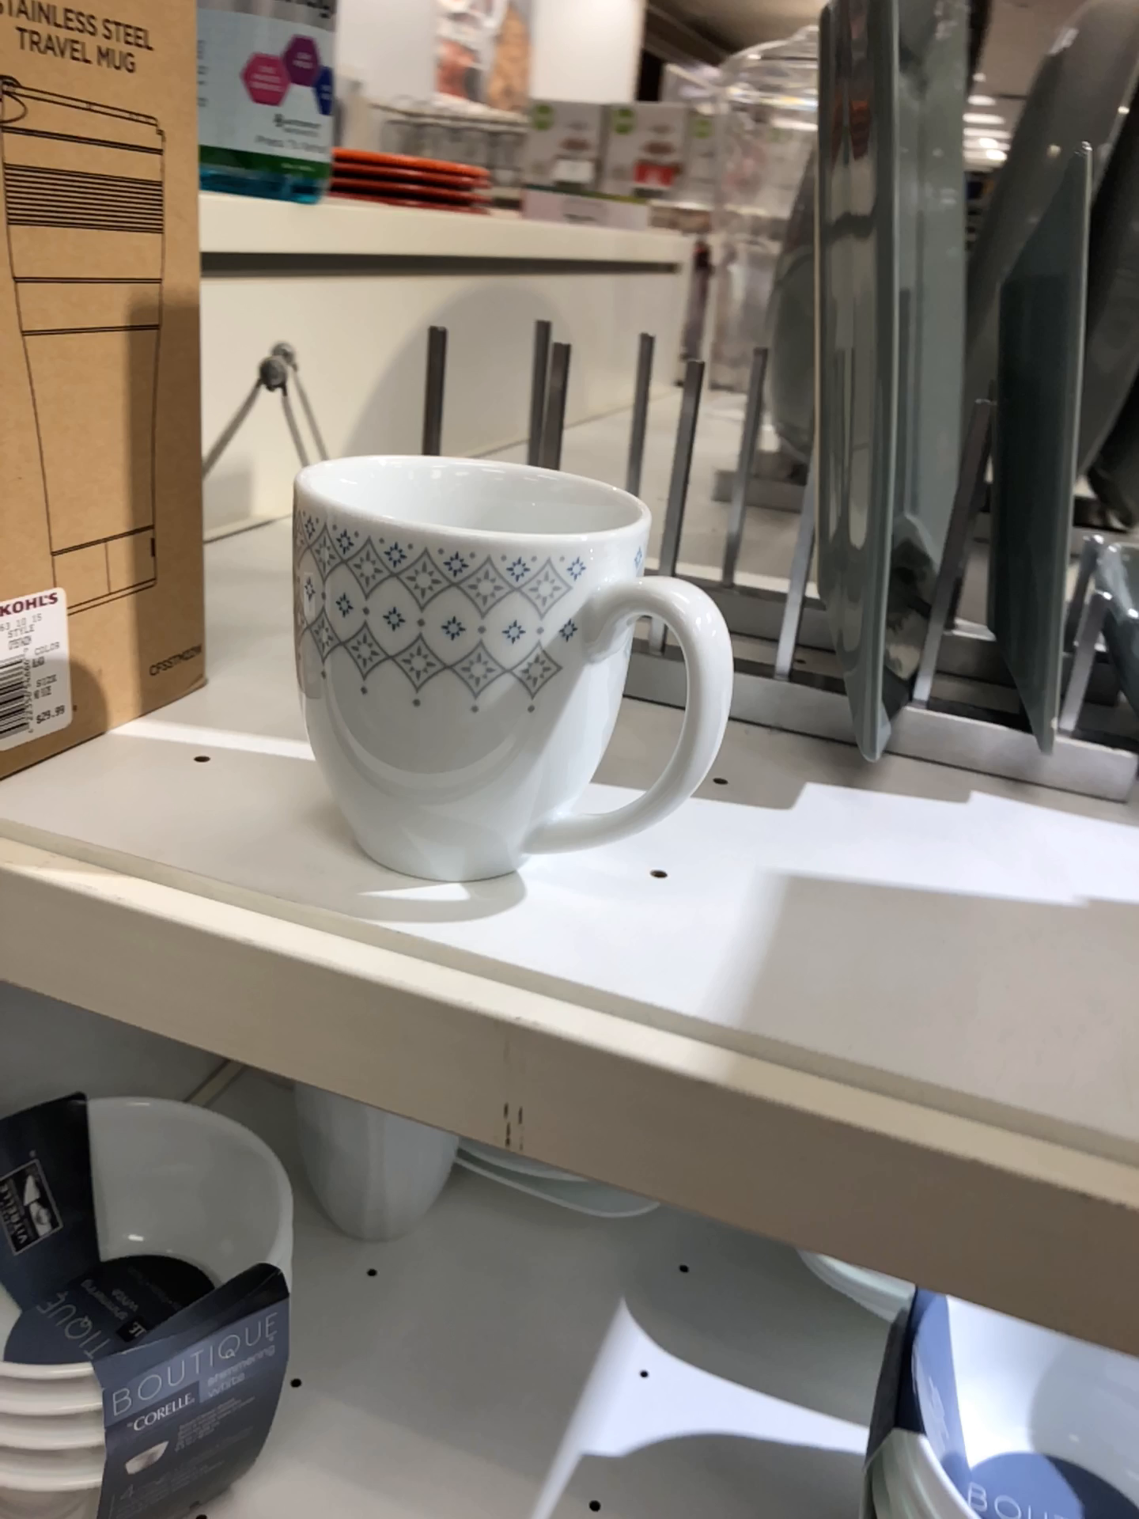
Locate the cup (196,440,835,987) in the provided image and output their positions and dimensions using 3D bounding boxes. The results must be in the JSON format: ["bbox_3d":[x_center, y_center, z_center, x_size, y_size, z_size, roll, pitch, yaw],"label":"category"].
[{"bbox_3d":[-0.015,-0.024,0.353,0.136,0.099,0.099,17,26,29],"label":"cup"}]
